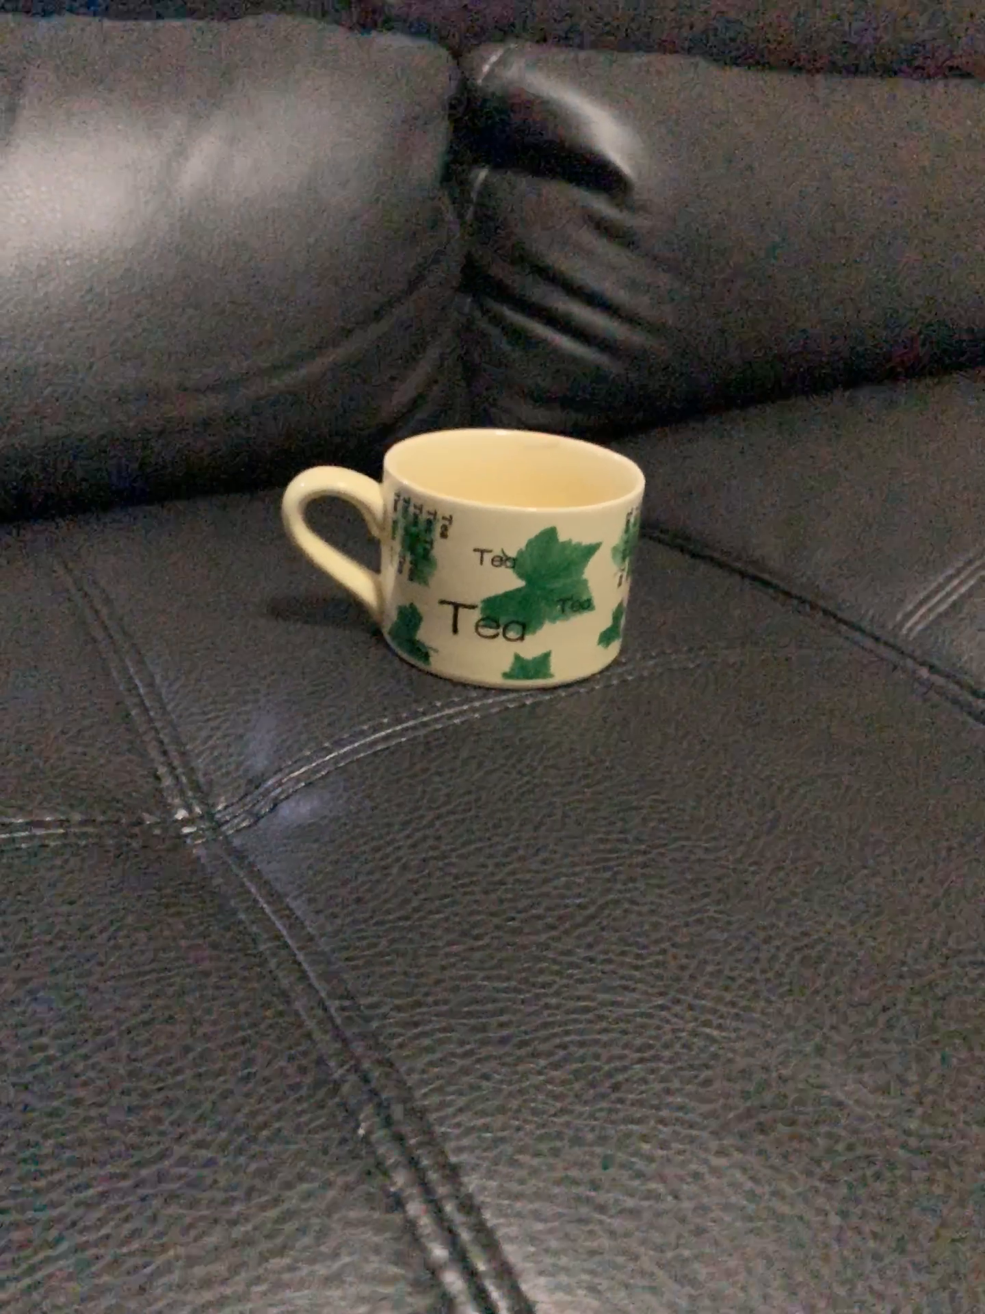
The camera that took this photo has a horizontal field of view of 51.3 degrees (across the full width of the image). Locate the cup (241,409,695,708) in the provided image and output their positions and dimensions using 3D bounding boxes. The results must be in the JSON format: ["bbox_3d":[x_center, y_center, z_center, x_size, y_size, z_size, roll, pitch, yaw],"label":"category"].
[{"bbox_3d":[-0.012,-0.035,0.318,0.118,0.060,0.091,-1,28,-8],"label":"cup"}]
